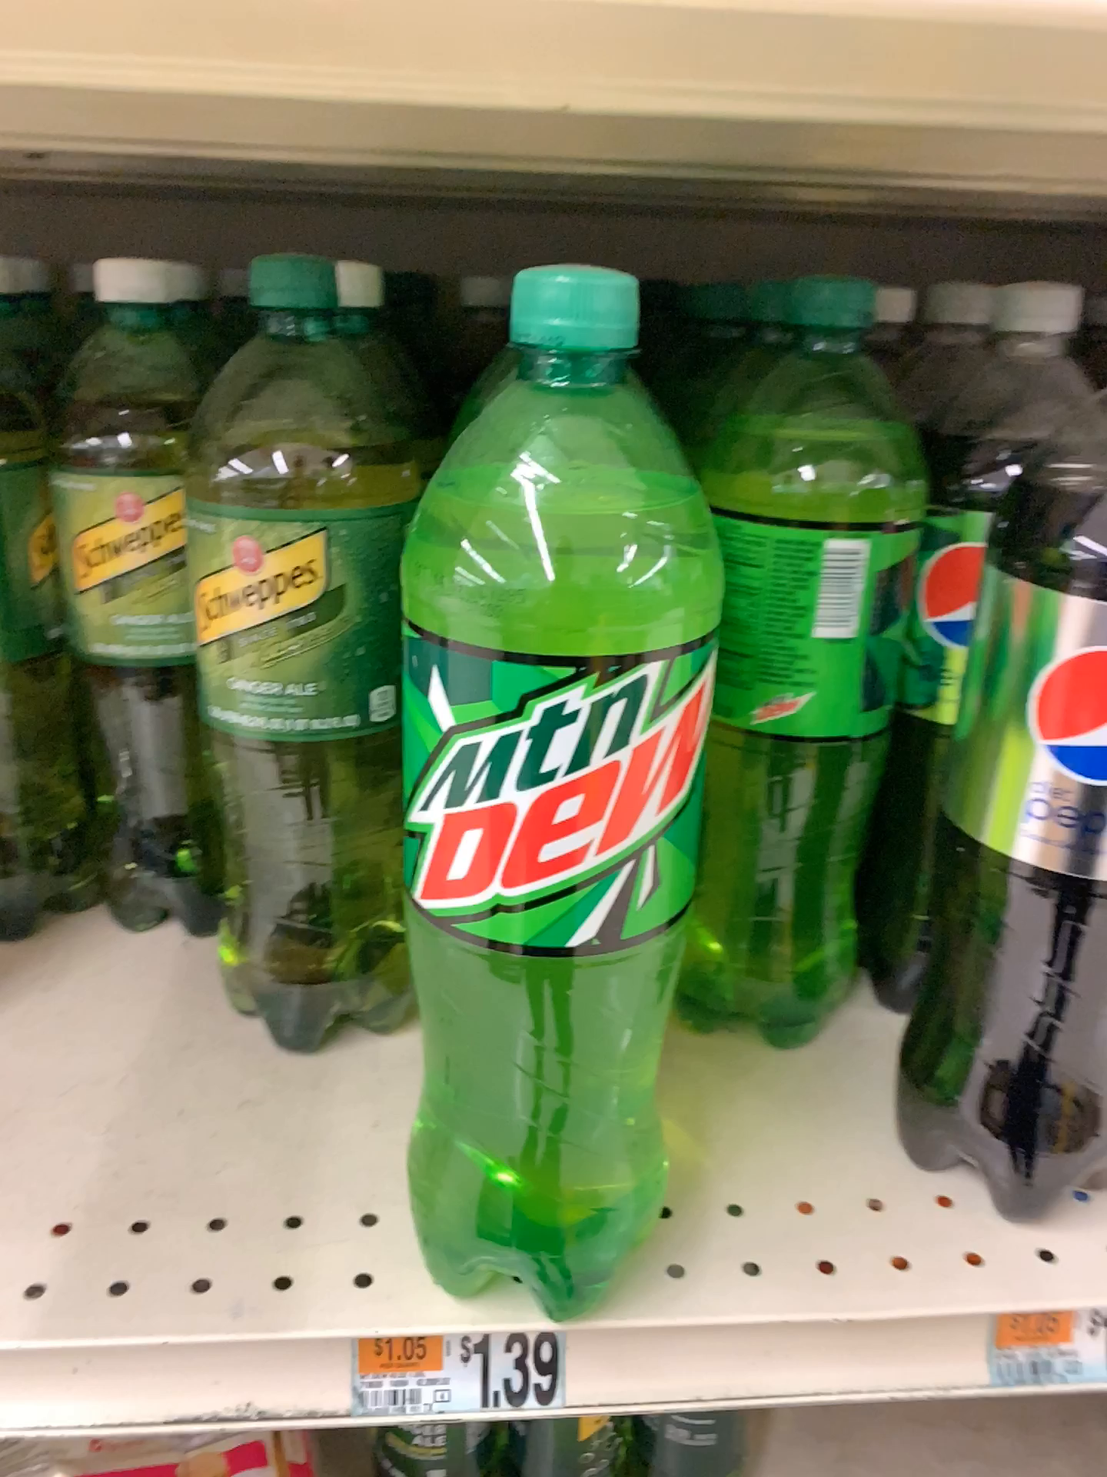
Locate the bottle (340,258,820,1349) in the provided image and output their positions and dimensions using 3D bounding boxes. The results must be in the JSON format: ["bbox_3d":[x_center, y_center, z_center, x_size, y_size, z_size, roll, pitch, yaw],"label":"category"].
[{"bbox_3d":[0.001,0.026,0.333,0.100,0.302,0.090,1,21,-1],"label":"bottle"}]
